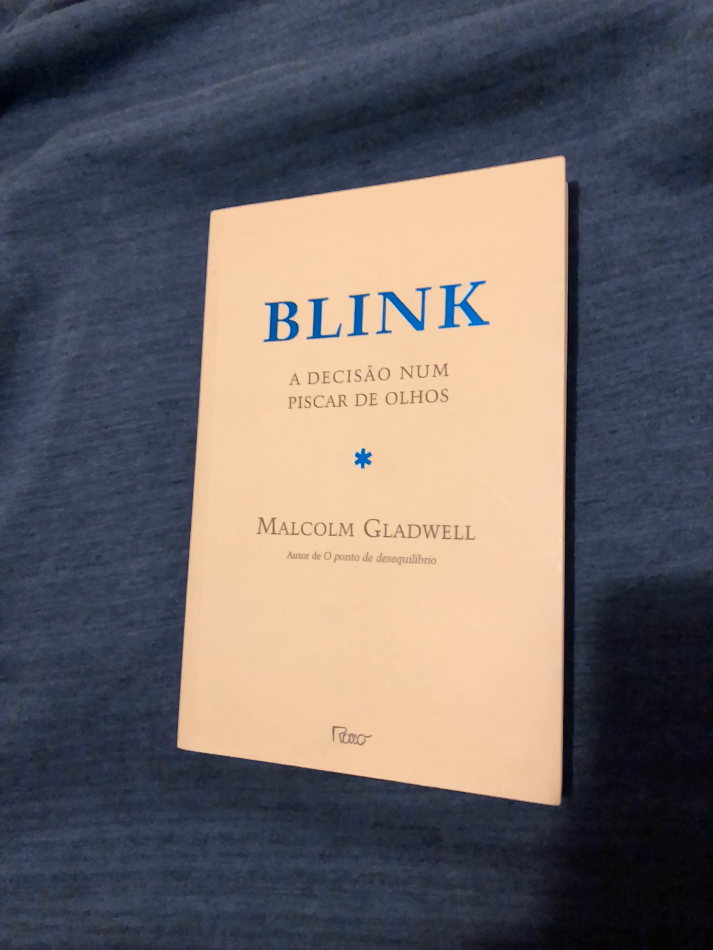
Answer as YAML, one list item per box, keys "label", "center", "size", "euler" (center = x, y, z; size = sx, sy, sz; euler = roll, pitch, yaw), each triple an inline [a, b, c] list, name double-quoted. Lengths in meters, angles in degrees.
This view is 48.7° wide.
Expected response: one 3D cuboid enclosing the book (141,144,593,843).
- label: "book"
  center: [0.006, 0.000, 0.285]
  size: [0.150, 0.030, 0.220]
  euler: [0, 79, 21]
